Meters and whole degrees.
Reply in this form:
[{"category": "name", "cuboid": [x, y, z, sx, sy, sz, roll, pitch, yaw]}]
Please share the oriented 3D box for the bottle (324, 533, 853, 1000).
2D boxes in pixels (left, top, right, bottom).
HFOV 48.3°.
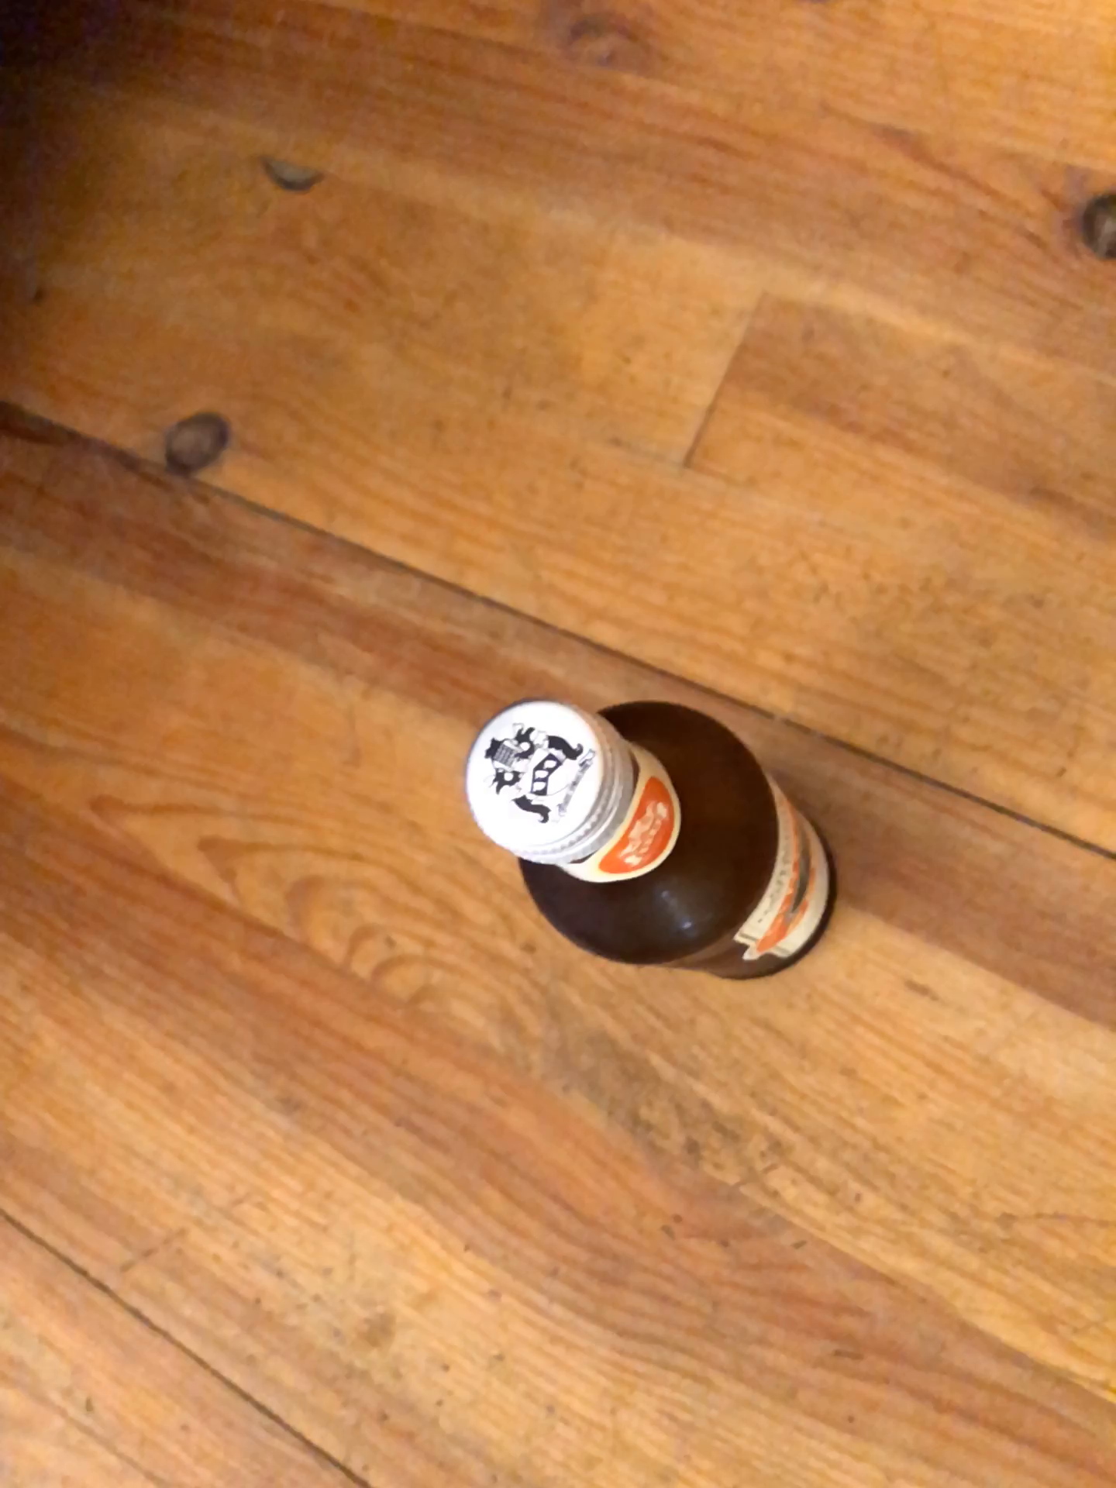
[{"category": "bottle", "cuboid": [0.027, 0.021, 0.303, 0.060, 0.210, 0.070, 7, 81, 20]}]
